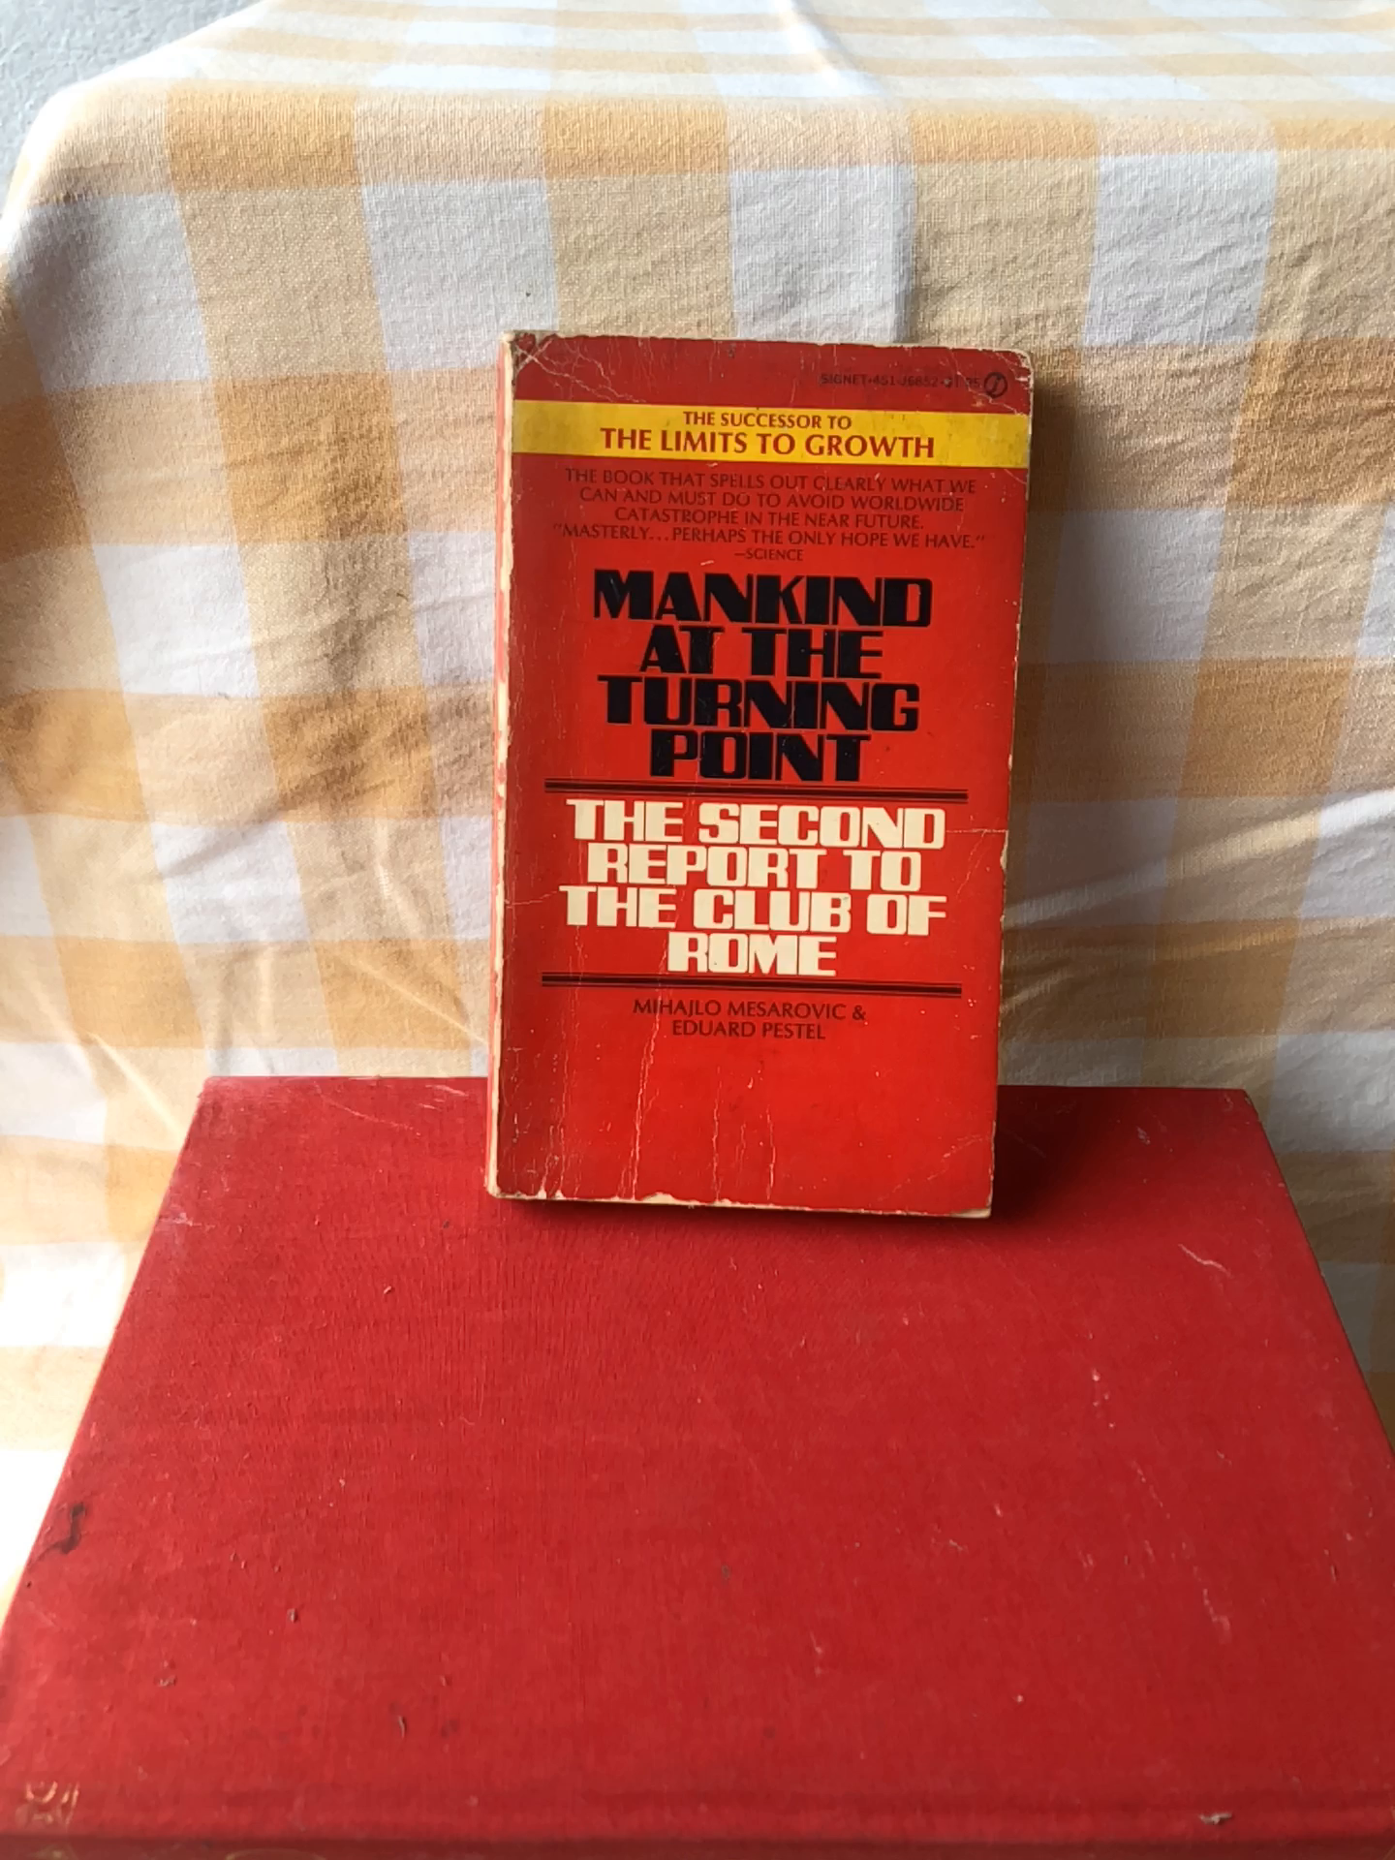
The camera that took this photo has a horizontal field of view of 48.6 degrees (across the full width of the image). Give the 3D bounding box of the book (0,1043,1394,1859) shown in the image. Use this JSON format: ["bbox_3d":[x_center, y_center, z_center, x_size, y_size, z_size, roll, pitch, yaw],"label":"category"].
[{"bbox_3d":[0.003,0.107,0.356,0.280,0.040,0.191,-1,37,2],"label":"book"}]

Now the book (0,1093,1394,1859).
[{"bbox_3d":[-0.001,0.120,0.354,0.270,0.040,0.191,-1,37,2],"label":"book"}]

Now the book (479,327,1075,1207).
[{"bbox_3d":[0.013,-0.031,0.323,0.110,0.170,0.040,2,12,0],"label":"book"}]

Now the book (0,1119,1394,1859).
[{"bbox_3d":[0.001,0.125,0.342,0.240,0.040,0.191,-1,37,2],"label":"book"}]
